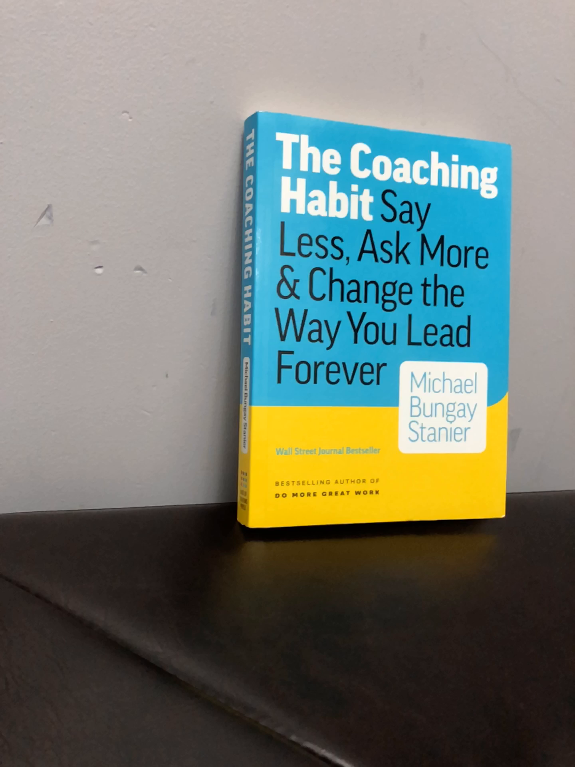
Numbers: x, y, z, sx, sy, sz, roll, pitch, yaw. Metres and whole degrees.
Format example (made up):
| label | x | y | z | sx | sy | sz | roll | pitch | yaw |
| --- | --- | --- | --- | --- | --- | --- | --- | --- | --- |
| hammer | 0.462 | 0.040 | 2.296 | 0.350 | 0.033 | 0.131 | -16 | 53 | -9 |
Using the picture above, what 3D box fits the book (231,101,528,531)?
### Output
| label | x | y | z | sx | sy | sz | roll | pitch | yaw |
| --- | --- | --- | --- | --- | --- | --- | --- | --- | --- |
| book | 0.049 | -0.029 | 0.327 | 0.145 | 0.196 | 0.030 | 2 | -2 | -17 |
